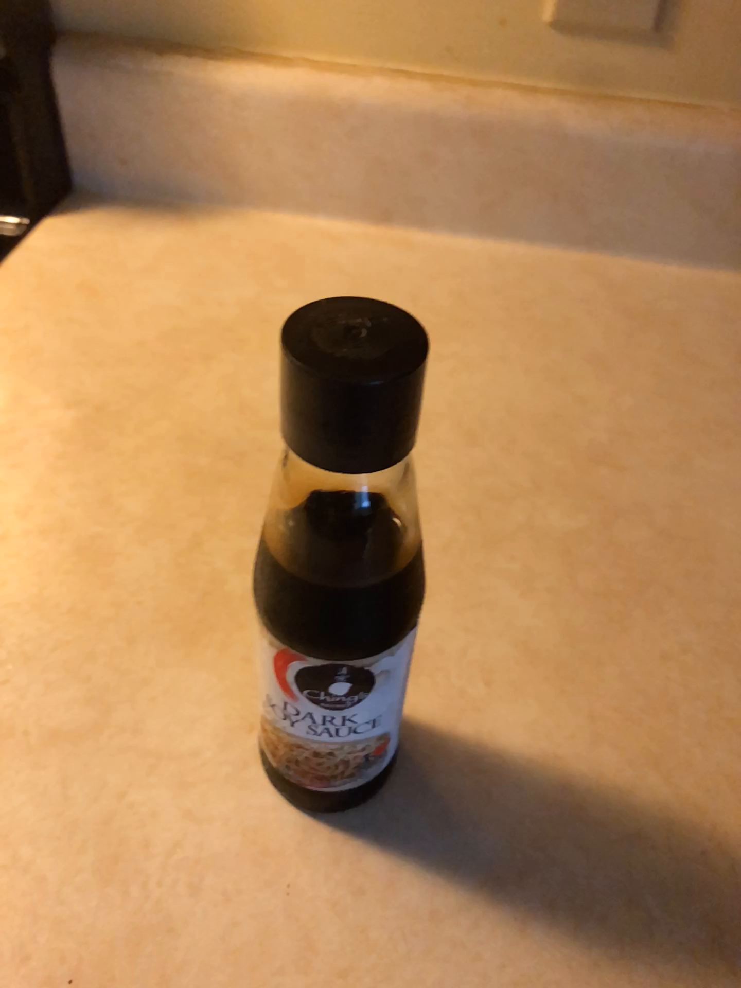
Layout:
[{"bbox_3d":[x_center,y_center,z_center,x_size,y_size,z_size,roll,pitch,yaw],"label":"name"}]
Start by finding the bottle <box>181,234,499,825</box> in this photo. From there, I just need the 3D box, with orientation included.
[{"bbox_3d":[-0.011,0.025,0.241,0.060,0.180,0.060,3,43,-2],"label":"bottle"}]
